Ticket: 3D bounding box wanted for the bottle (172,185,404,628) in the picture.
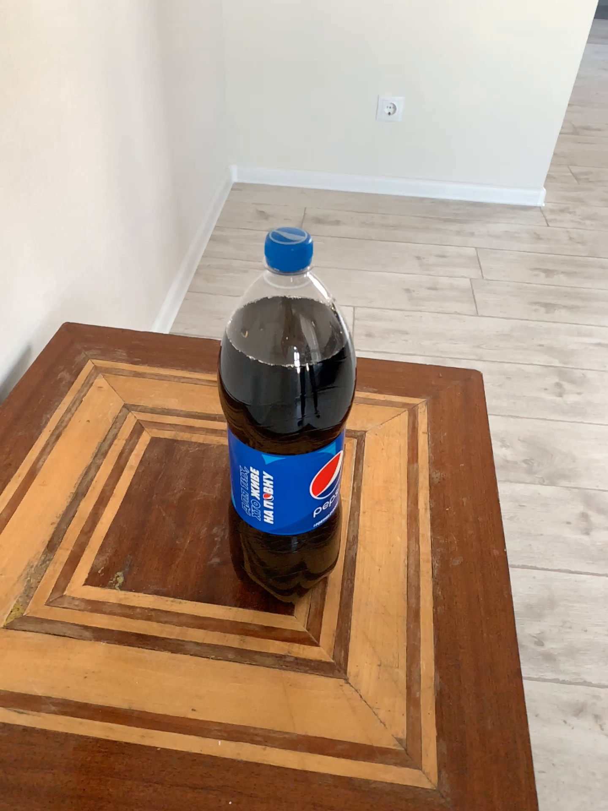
[{"bbox_3d":[-0.015,0.022,0.486,0.100,0.338,0.100,2,41,-2],"label":"bottle"}]
